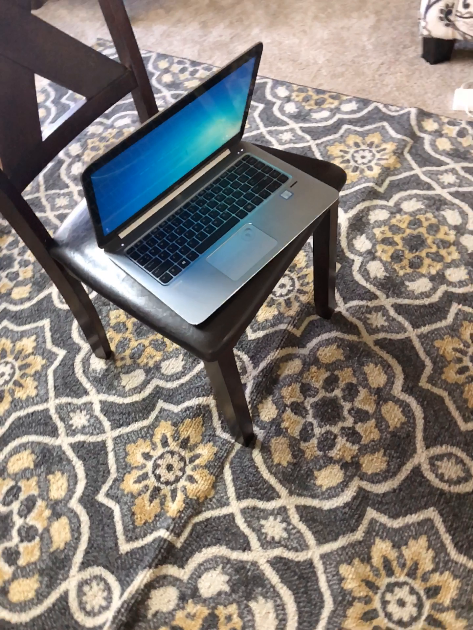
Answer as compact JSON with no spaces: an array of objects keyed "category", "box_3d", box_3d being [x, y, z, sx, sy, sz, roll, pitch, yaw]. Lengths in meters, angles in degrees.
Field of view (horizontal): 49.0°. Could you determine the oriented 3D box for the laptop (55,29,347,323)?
[{"category":"laptop","box_3d":[-0.032,-0.205,0.738,0.212,0.194,0.323,37,68,27]}]
